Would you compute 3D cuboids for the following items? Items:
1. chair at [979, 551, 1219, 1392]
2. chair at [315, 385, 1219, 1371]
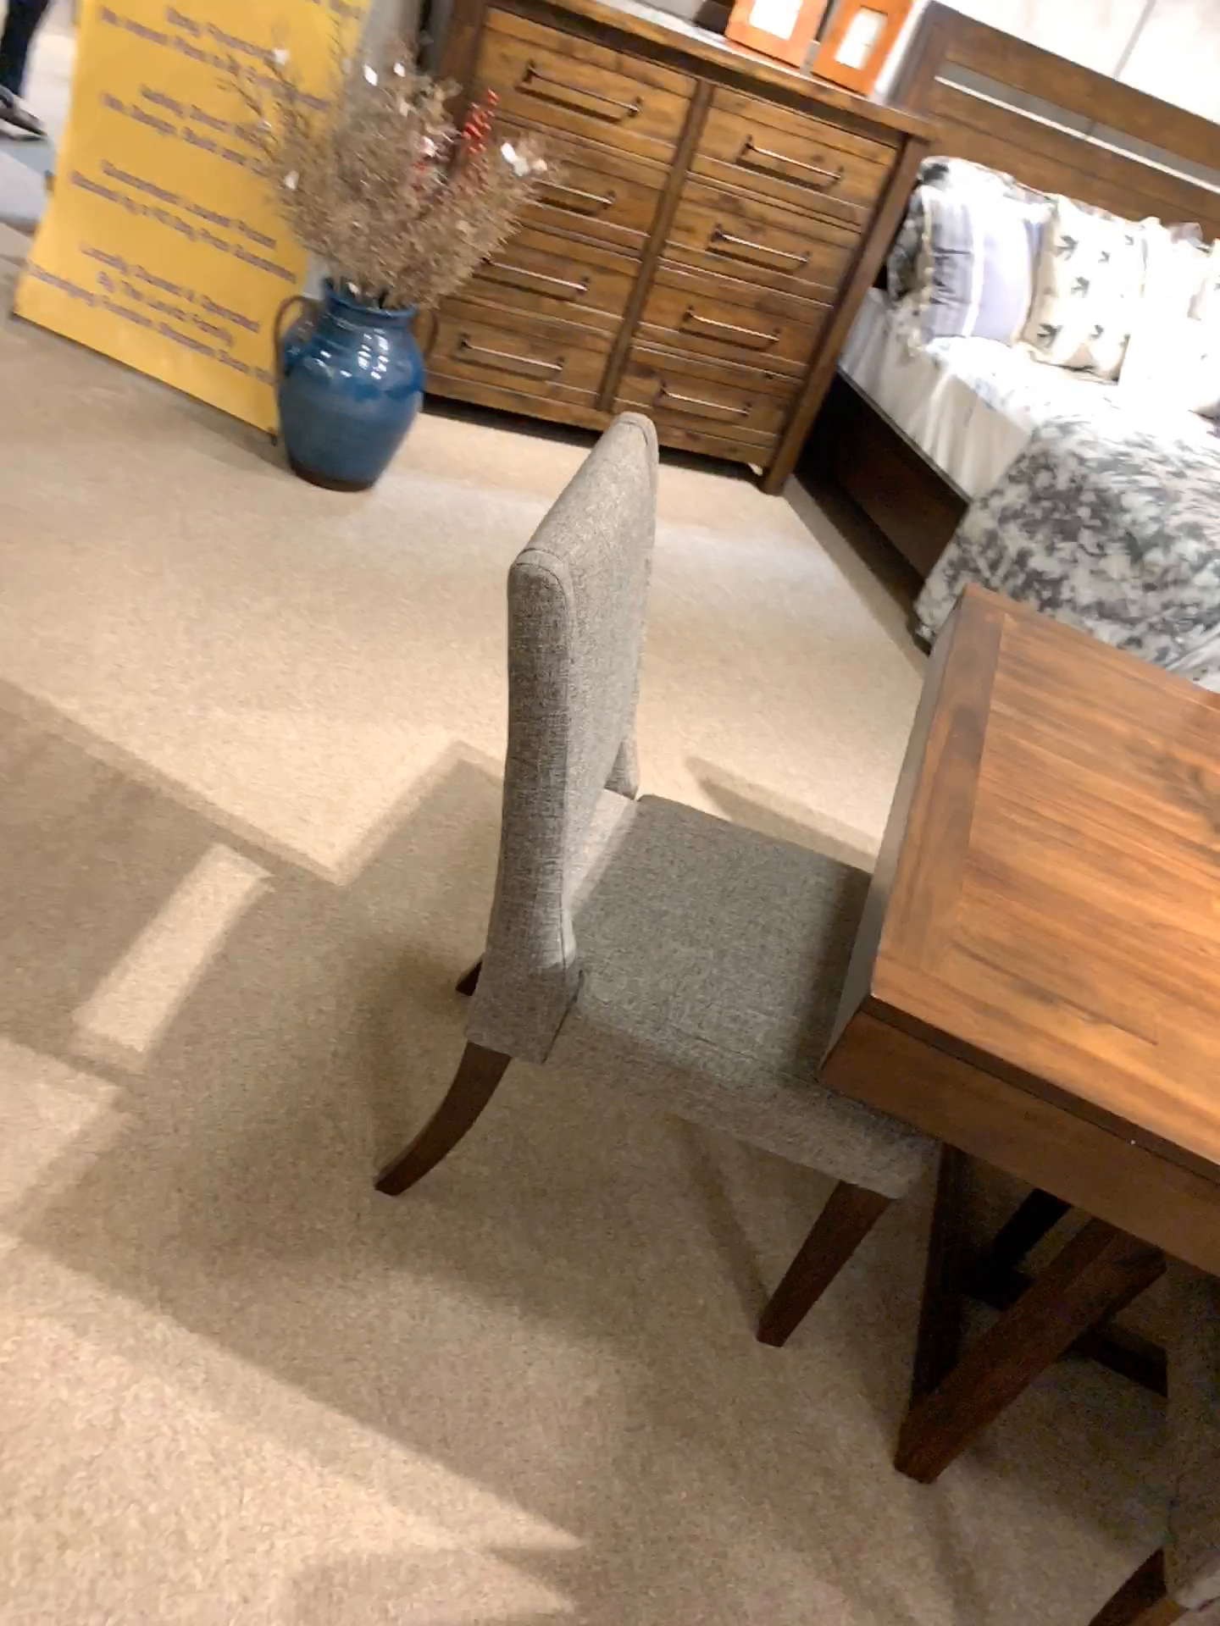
[{"bbox_3d":[0.960,0.212,1.742,0.479,0.863,0.634,25,35,4],"label":"chair"},{"bbox_3d":[0.122,0.096,1.435,0.630,0.863,0.482,21,34,-1],"label":"chair"}]
